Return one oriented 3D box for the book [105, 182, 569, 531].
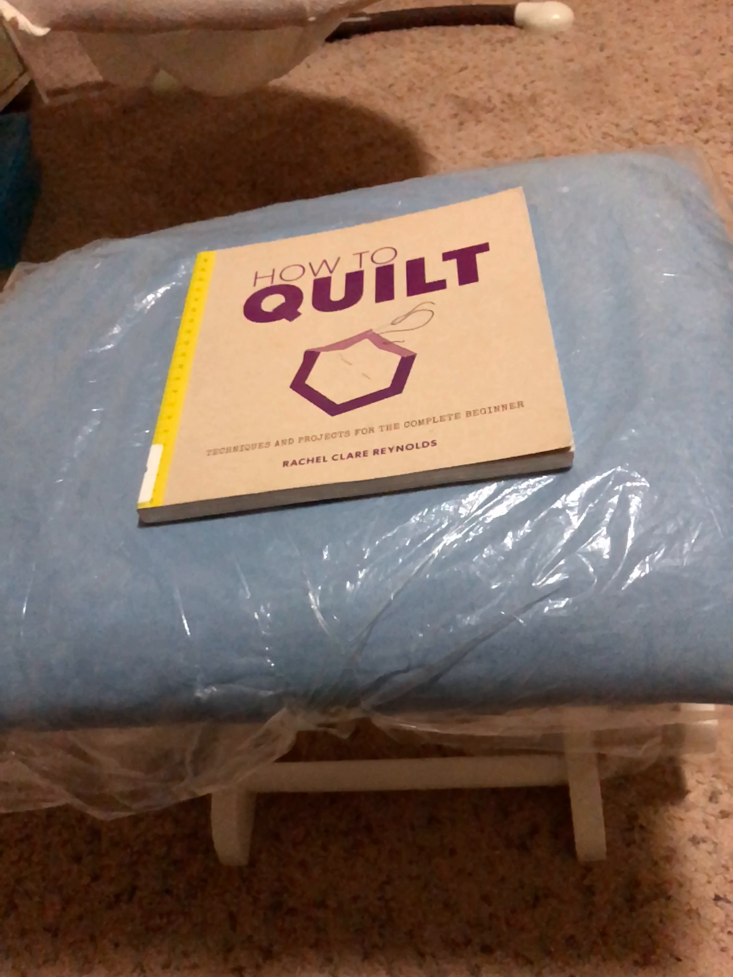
[{"bbox_3d":[-0.015,-0.075,0.420,0.208,0.020,0.194,-8,51,11],"label":"book"}]
